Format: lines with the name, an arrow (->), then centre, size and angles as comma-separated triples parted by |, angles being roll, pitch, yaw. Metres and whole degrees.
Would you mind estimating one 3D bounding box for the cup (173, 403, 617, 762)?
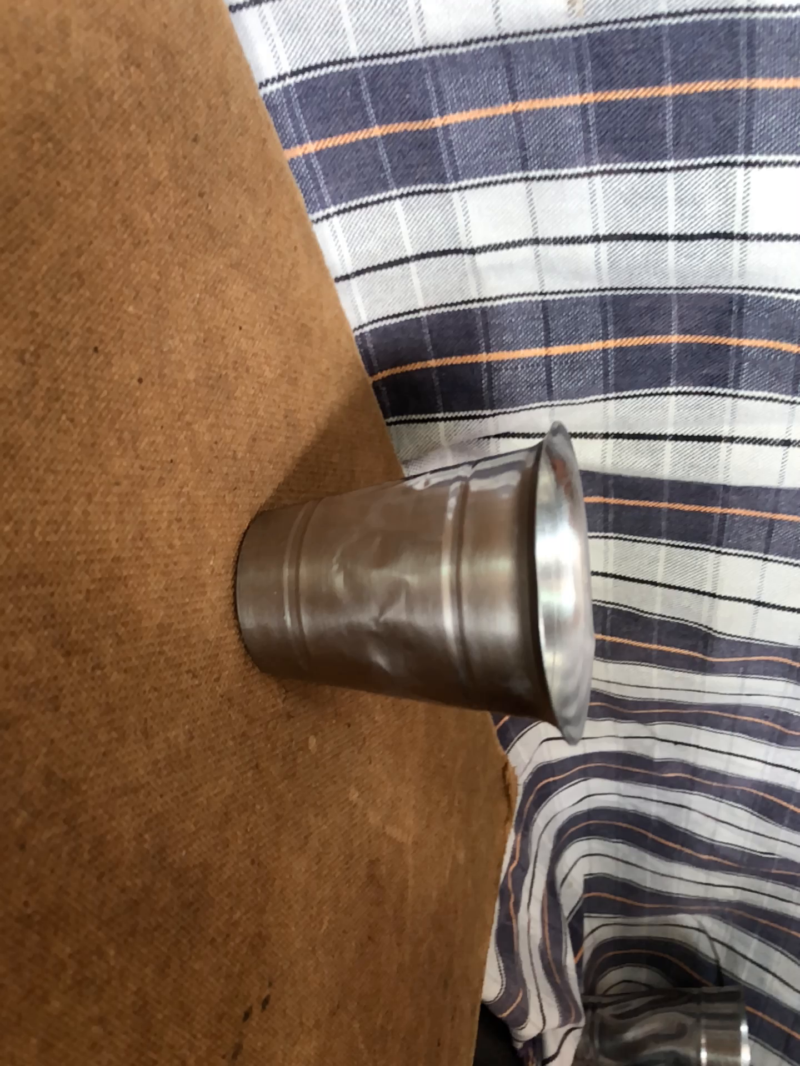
cup -> 0.006, 0.009, 0.214 | 0.070, 0.080, 0.060 | -45, 129, -65
